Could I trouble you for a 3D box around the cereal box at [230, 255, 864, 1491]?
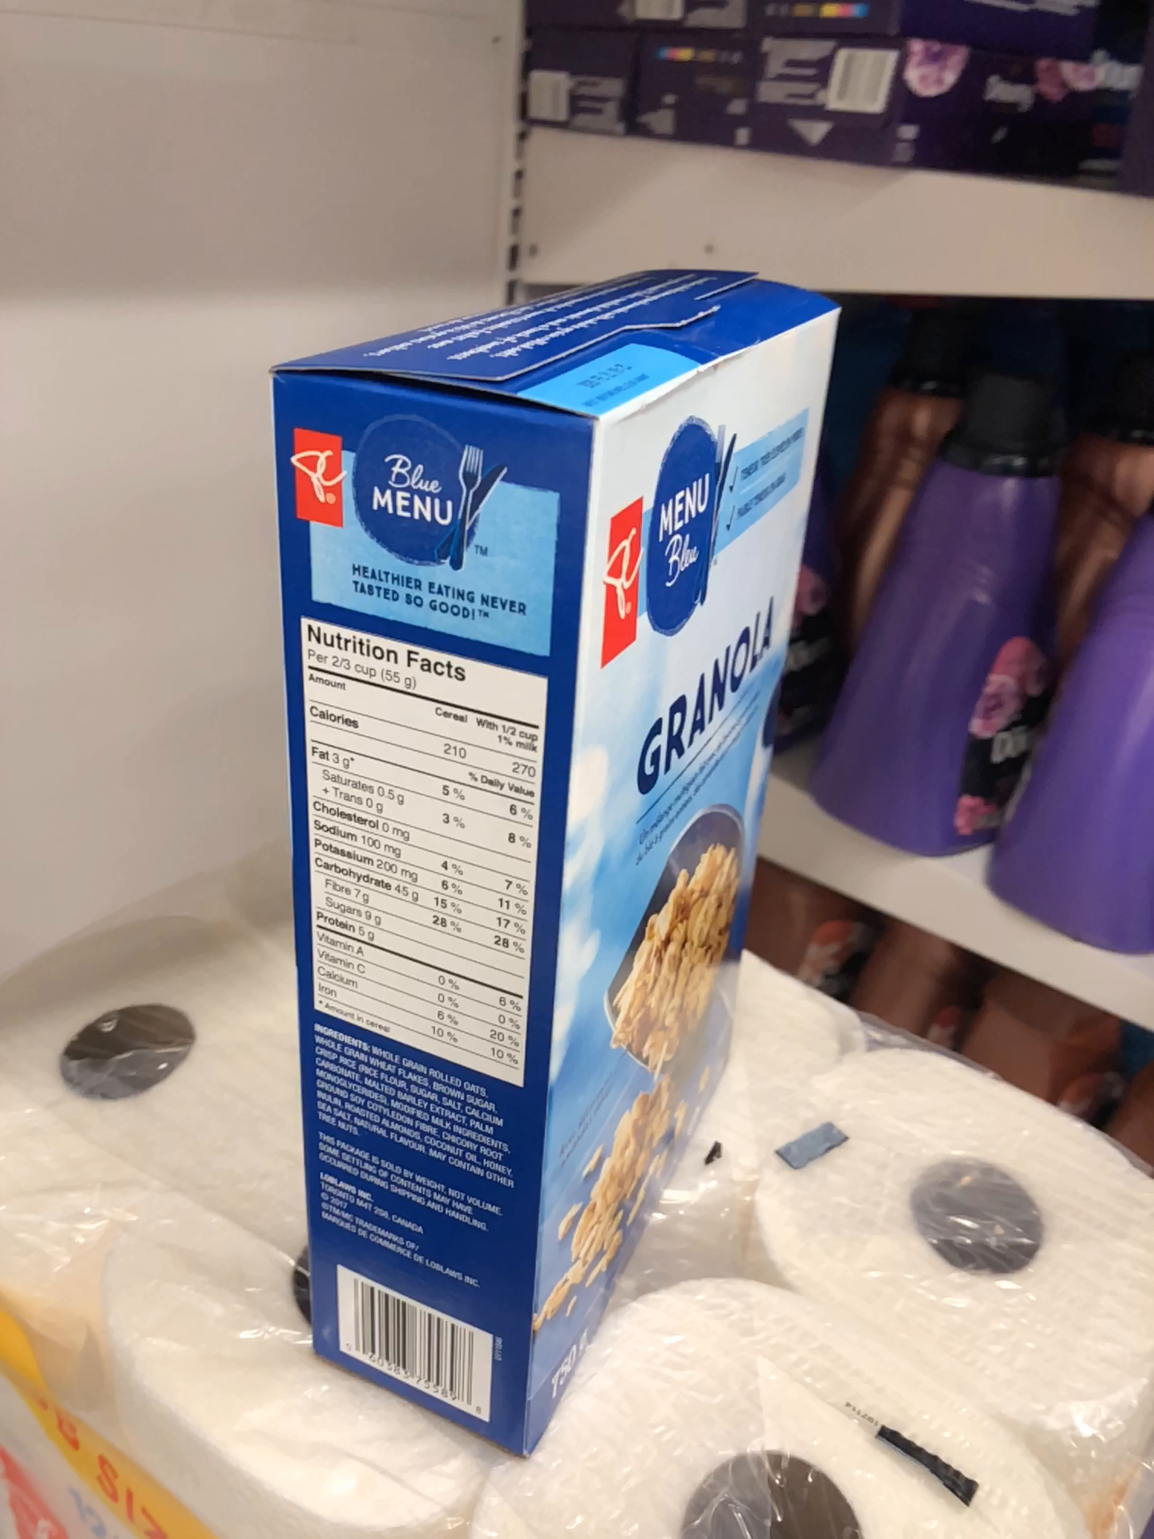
[{"bbox_3d":[0.002,0.015,0.307,0.060,0.239,0.161,14,30,20],"label":"cereal box"}]
